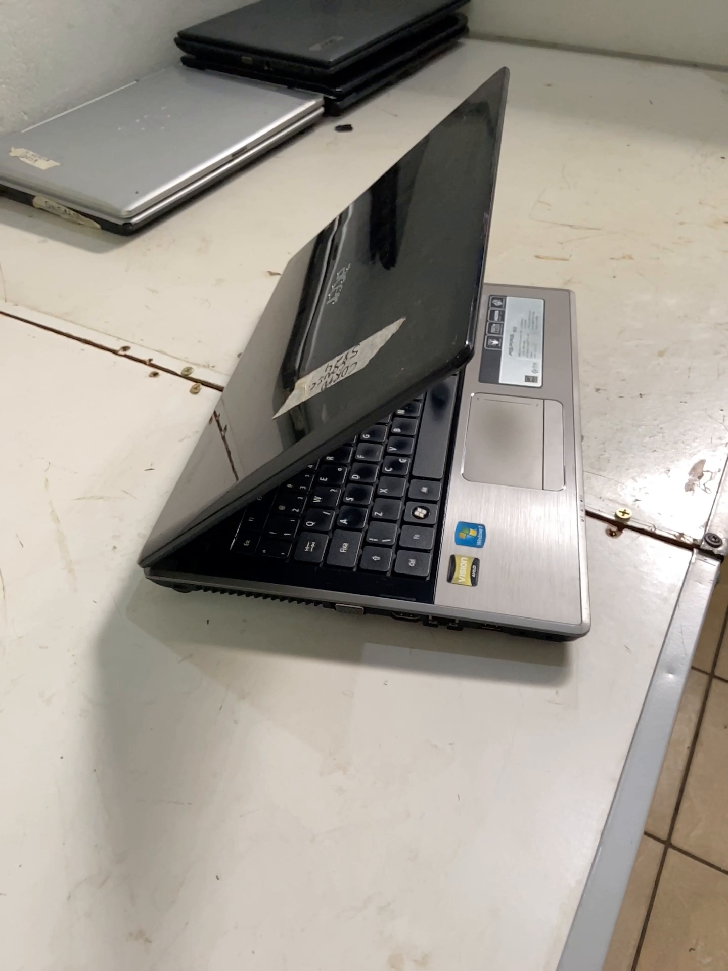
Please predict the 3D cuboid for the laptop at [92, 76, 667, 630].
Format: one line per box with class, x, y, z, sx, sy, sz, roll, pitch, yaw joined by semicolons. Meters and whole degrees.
laptop;0.028;-0.111;0.464;0.226;0.157;0.336;6;44;7
